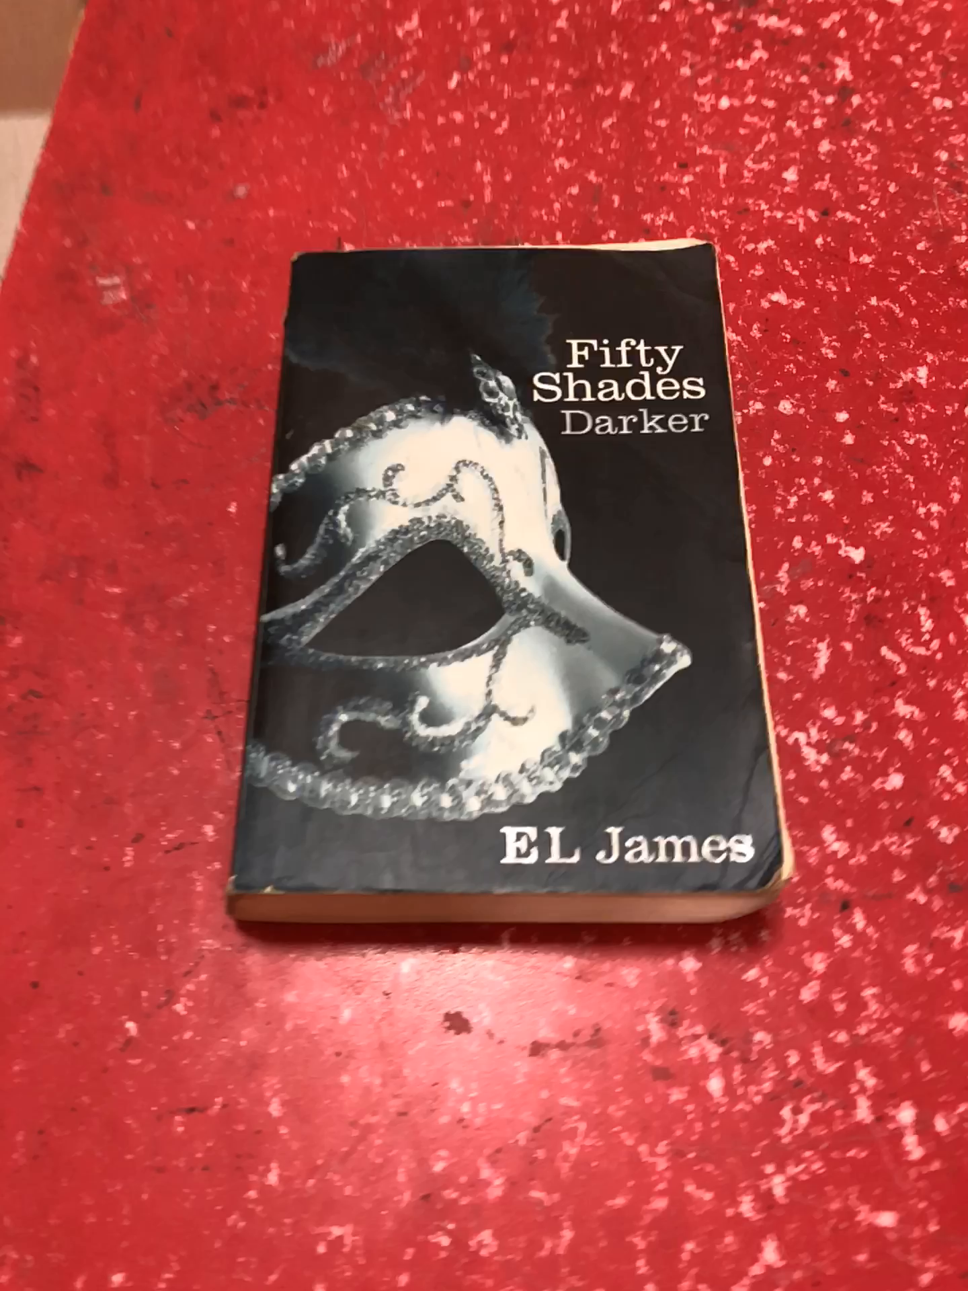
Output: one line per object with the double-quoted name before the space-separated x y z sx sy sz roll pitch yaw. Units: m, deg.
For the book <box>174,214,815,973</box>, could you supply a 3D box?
"book" 0.003 -0.021 0.301 0.140 0.050 0.210 0 66 2
